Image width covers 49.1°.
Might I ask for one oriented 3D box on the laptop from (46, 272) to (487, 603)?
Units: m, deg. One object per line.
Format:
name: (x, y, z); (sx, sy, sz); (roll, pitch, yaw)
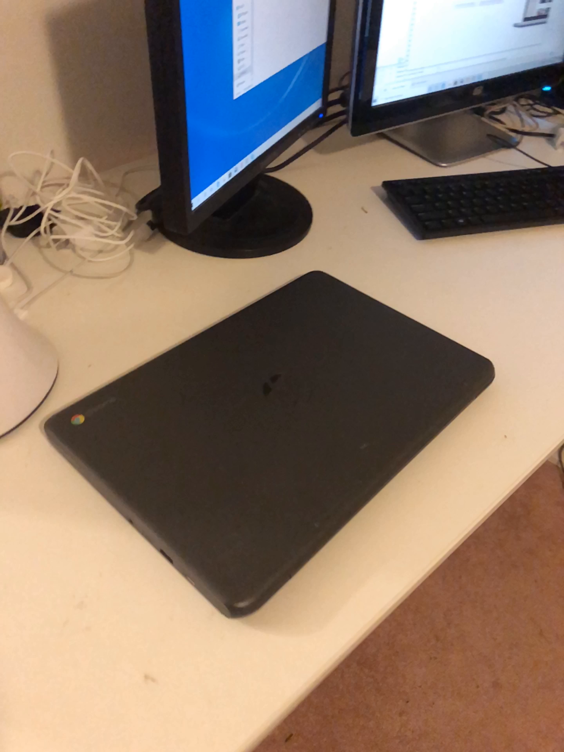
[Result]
laptop: (0.004, 0.015, 0.527); (0.209, 0.001, 0.327); (34, 49, 27)
